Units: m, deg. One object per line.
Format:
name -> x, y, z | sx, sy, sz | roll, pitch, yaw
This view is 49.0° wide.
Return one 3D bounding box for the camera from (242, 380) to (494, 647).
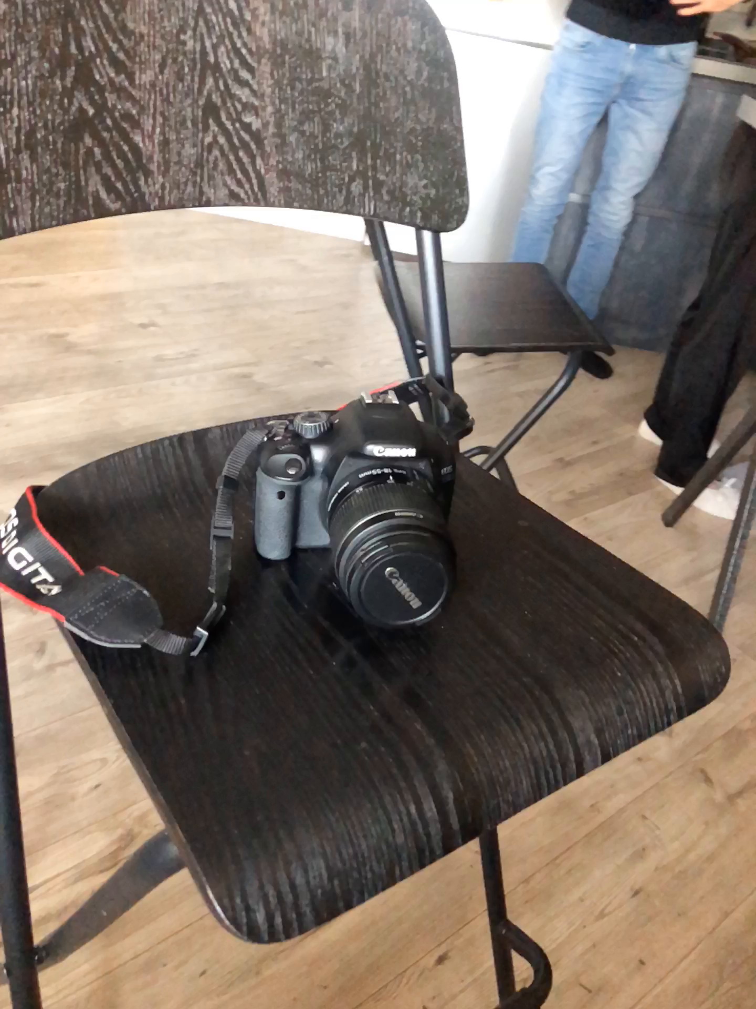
camera -> -0.016, 0.001, 0.503 | 0.120, 0.092, 0.141 | 1, 34, -13
